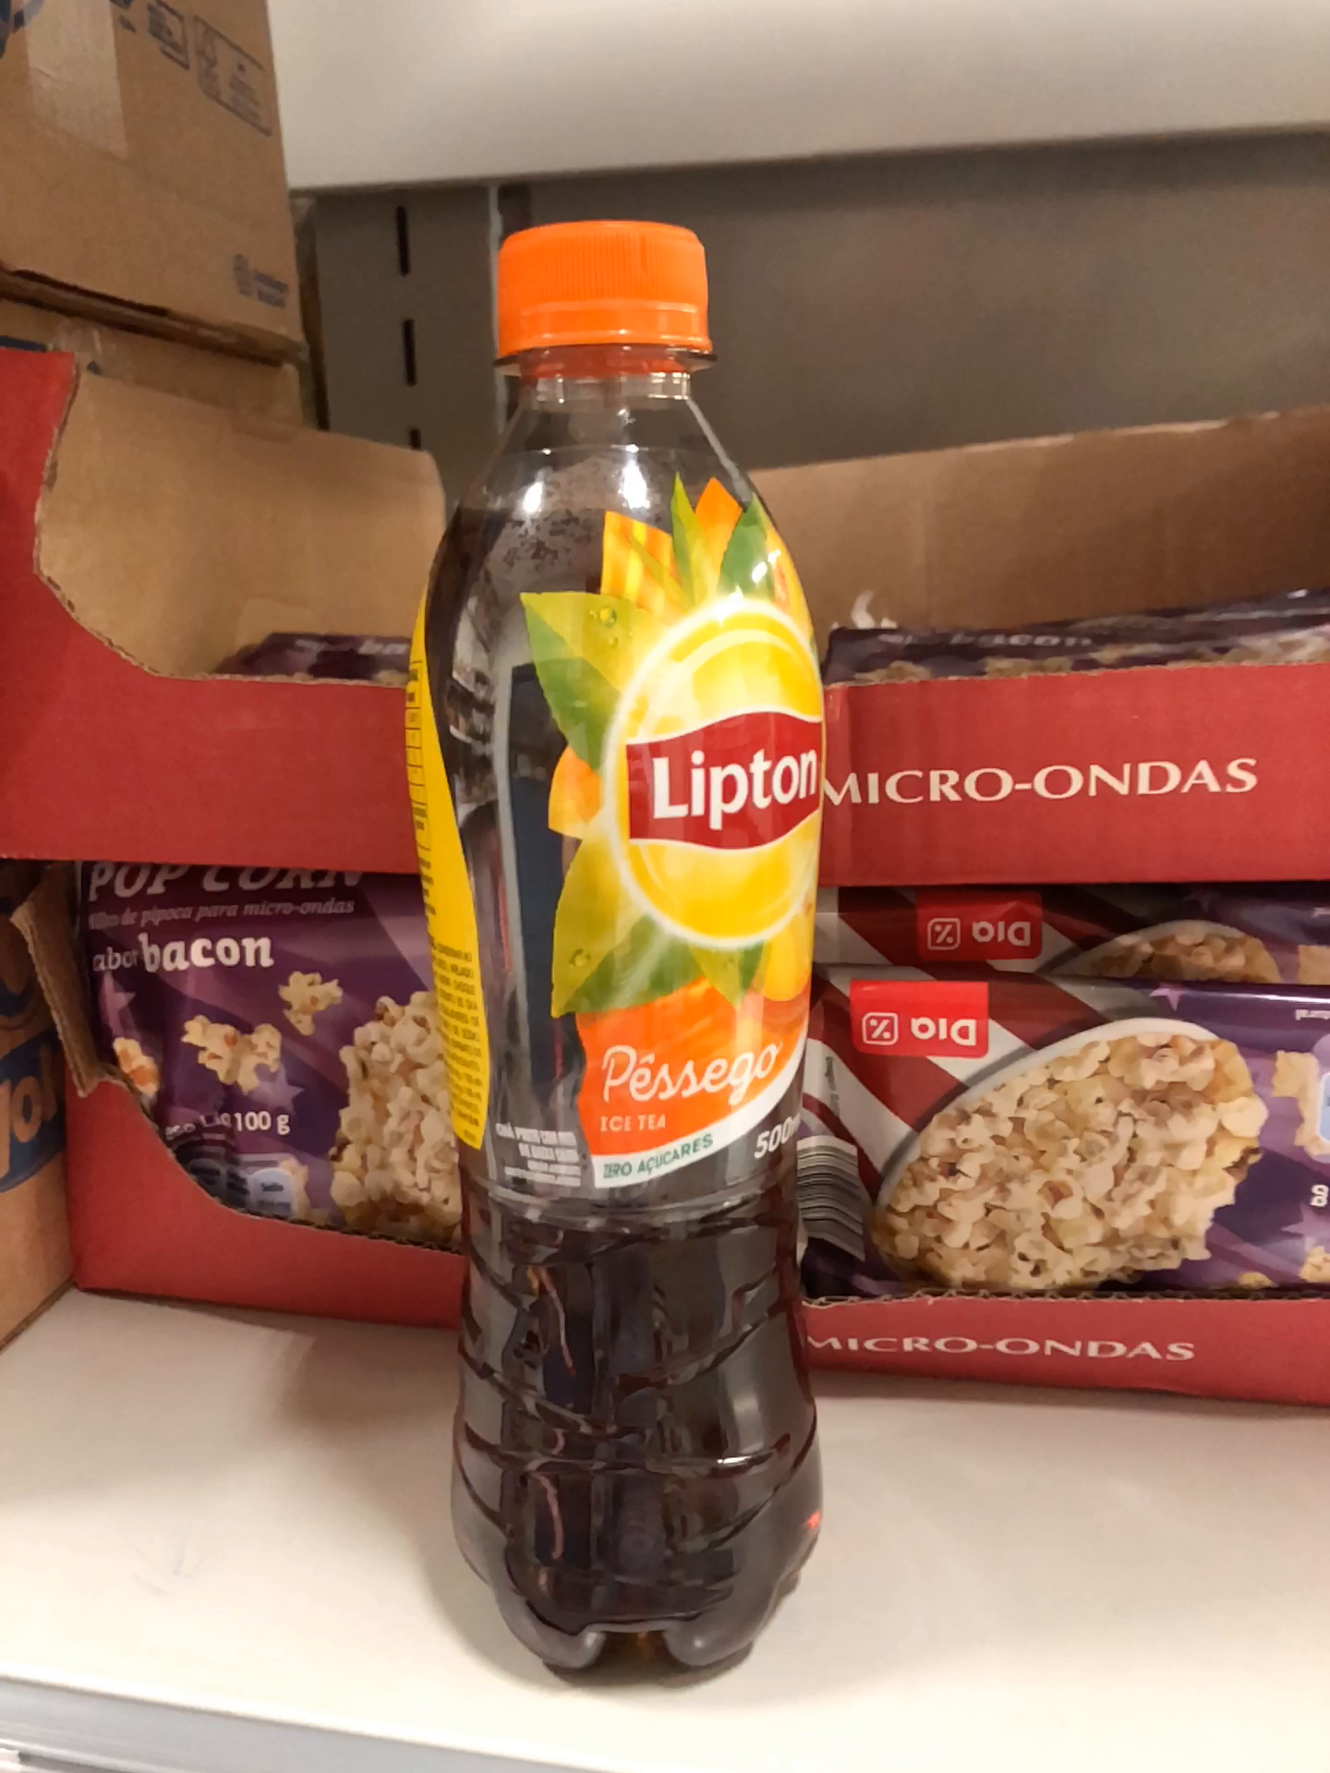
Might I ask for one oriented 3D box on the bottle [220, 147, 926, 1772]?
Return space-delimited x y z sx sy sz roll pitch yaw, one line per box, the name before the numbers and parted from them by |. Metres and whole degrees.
bottle | -0.011 0.012 0.235 0.070 0.219 0.070 -2 16 1
